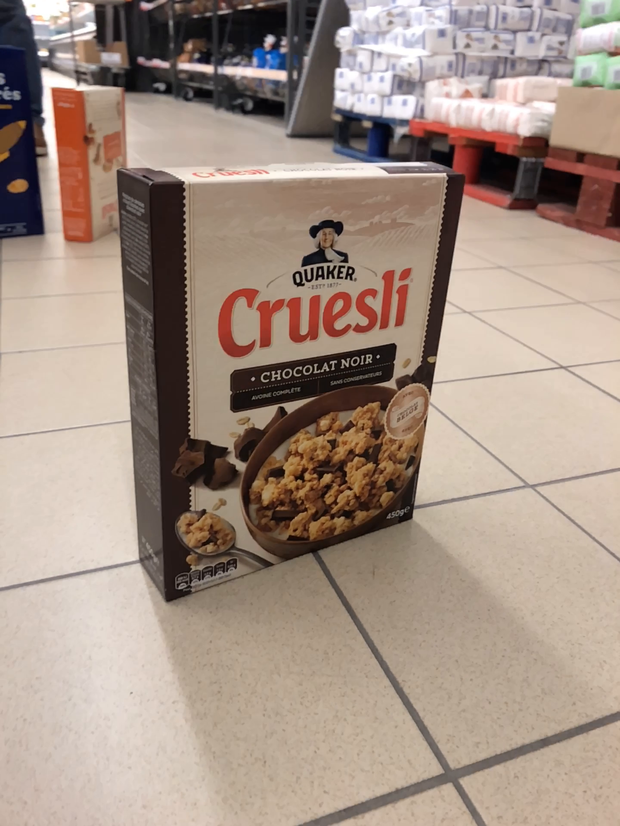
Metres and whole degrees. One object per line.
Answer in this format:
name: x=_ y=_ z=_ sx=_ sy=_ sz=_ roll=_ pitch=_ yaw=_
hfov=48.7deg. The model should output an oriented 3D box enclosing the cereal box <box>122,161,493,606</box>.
cereal box: x=0.001 y=-0.023 z=0.417 sx=0.201 sy=0.239 sz=0.050 roll=-12 pitch=30 yaw=-28
